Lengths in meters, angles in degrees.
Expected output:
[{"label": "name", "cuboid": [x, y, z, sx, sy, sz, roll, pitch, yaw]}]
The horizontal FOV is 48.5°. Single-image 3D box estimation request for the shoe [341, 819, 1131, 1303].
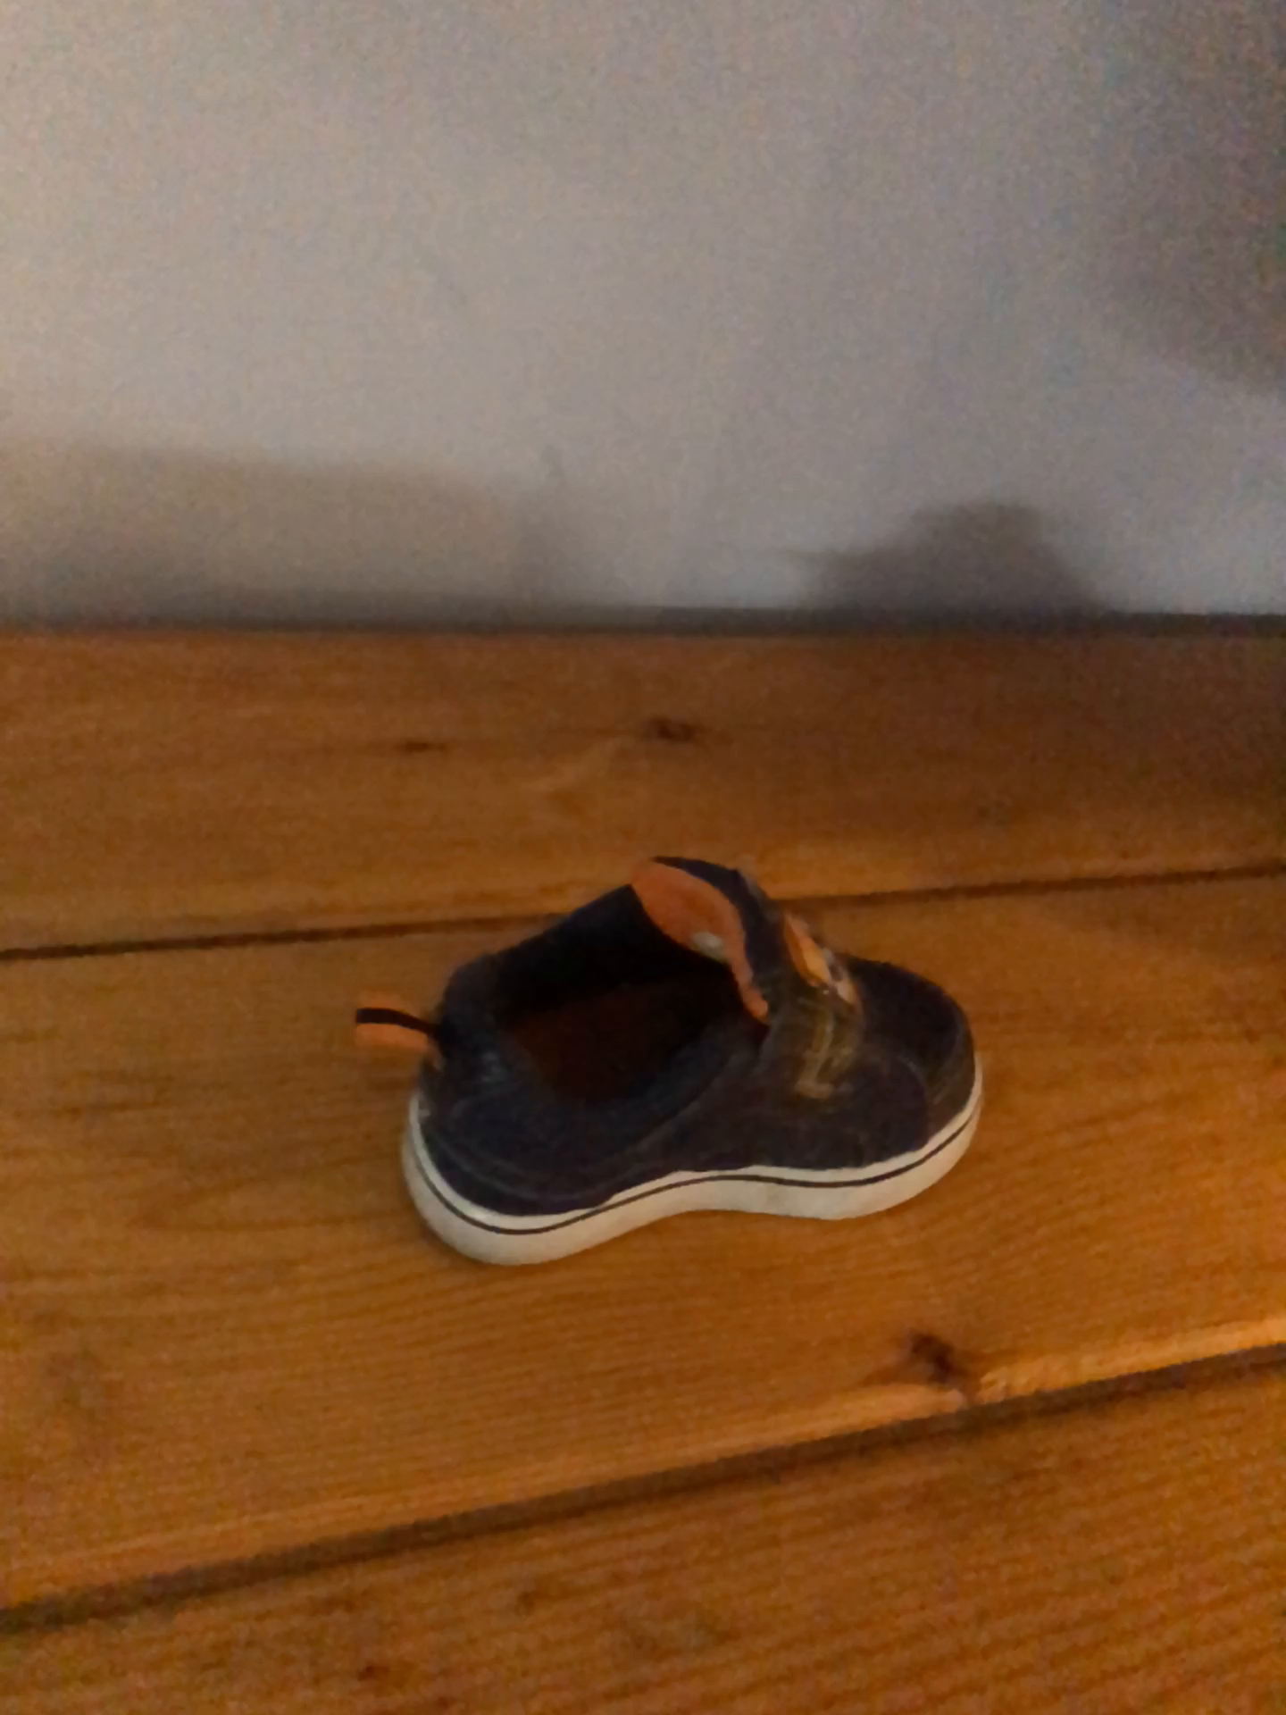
[{"label": "shoe", "cuboid": [0.017, 0.043, 0.337, 0.160, 0.070, 0.070, -3, 43, -20]}]
